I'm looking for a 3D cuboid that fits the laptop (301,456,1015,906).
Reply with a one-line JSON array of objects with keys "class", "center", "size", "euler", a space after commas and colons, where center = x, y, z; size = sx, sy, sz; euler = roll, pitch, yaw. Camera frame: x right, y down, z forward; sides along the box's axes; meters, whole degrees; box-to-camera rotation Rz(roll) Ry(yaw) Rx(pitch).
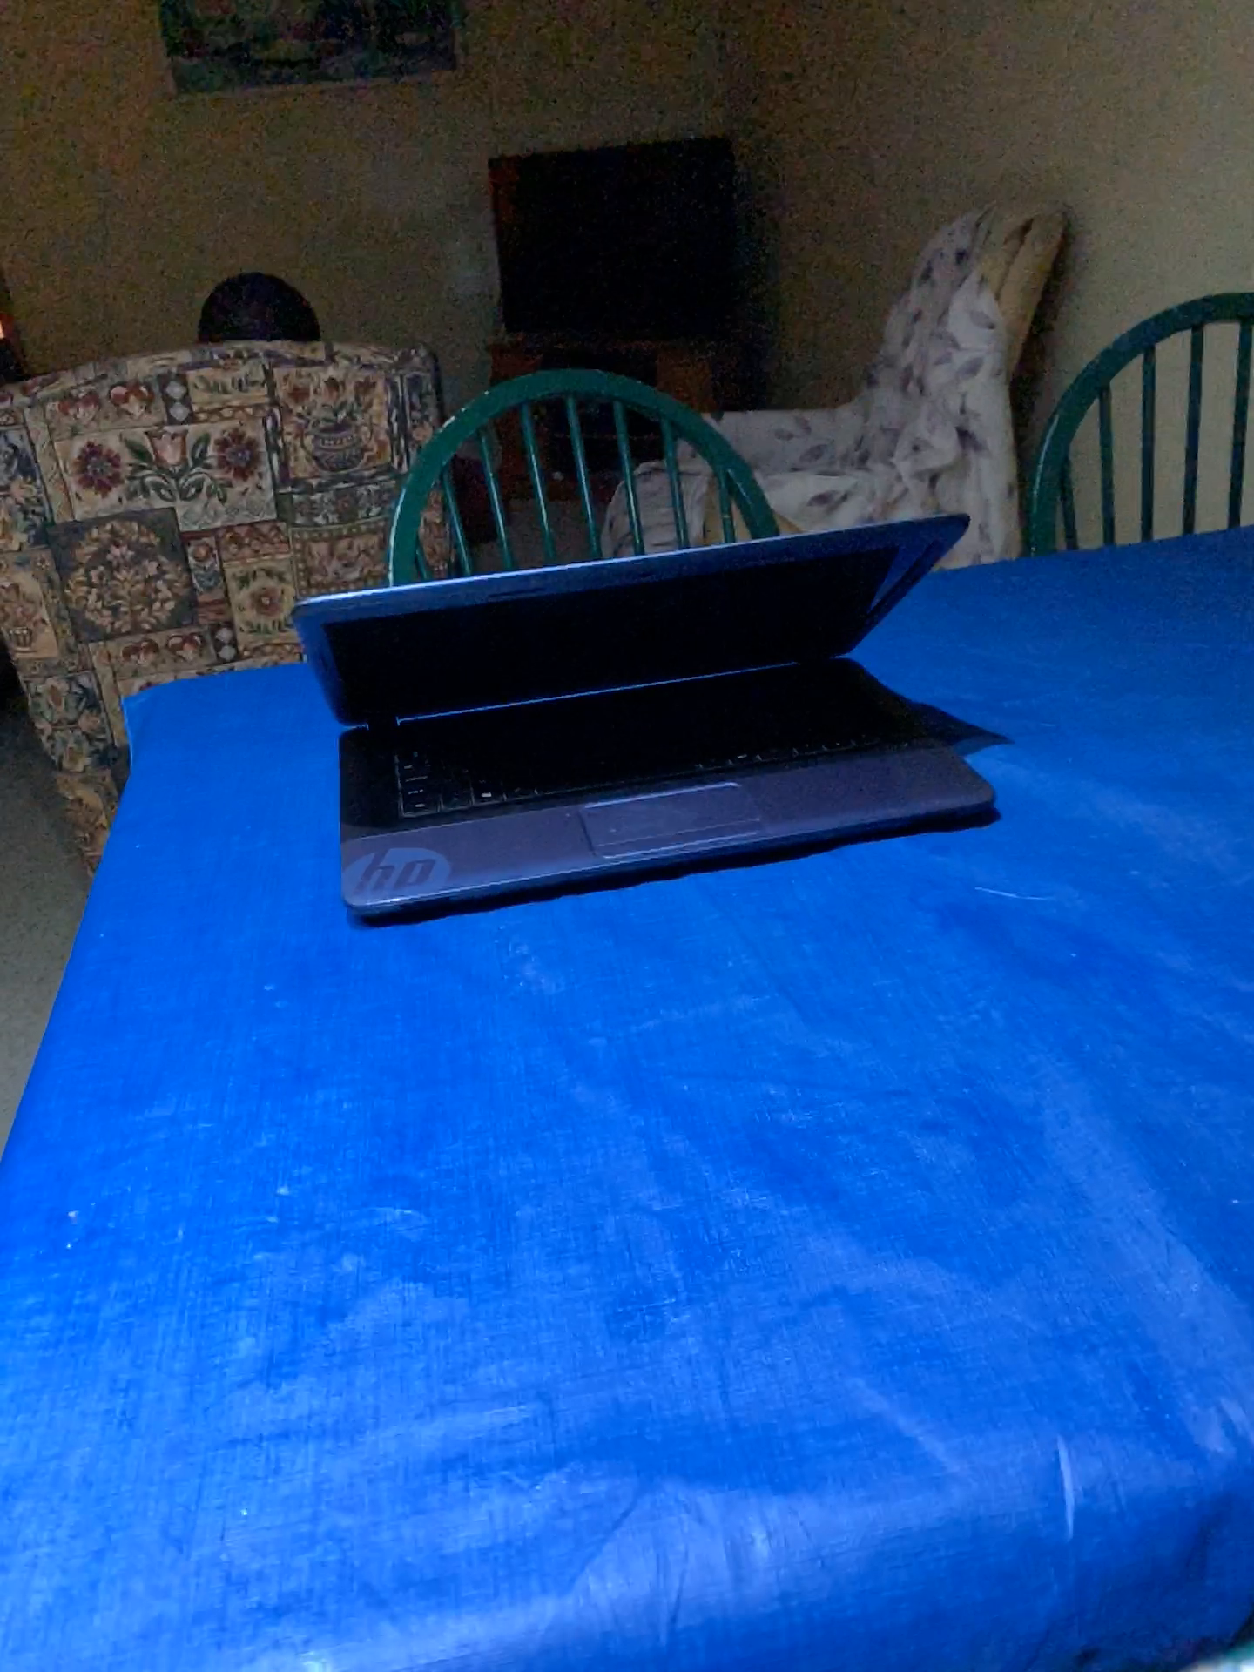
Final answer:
[{"class": "laptop", "center": [0.003, -0.110, 0.771], "size": [0.362, 0.141, 0.241], "euler": [-9, 28, -8]}]
